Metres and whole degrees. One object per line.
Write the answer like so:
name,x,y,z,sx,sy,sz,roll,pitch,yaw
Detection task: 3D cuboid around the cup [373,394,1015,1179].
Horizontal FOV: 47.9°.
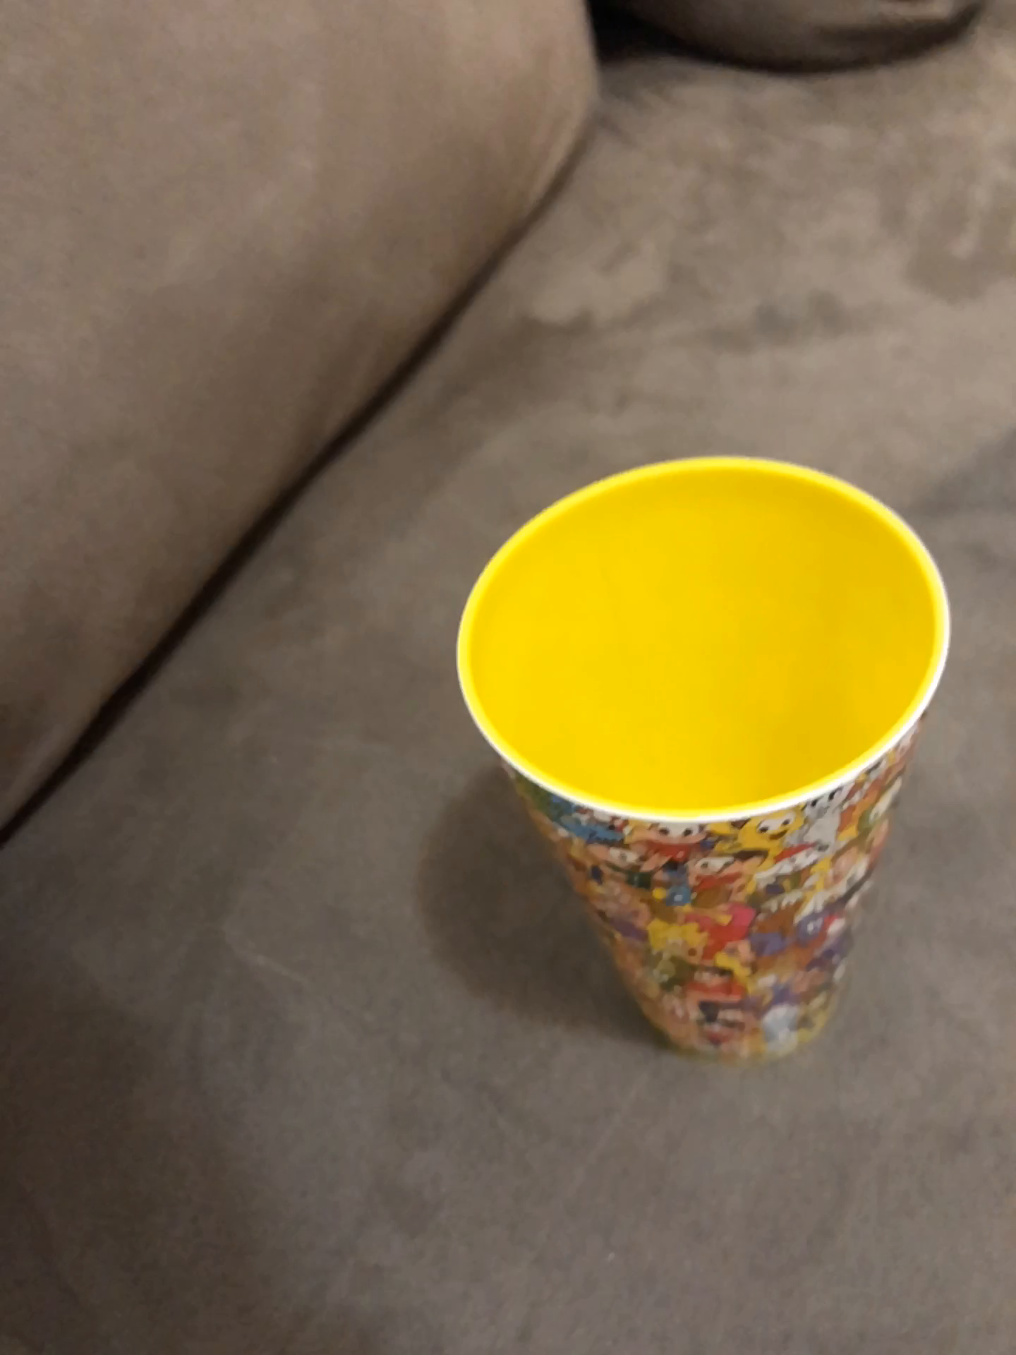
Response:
cup,0.047,0.031,0.268,0.090,0.139,0.090,-8,49,10
